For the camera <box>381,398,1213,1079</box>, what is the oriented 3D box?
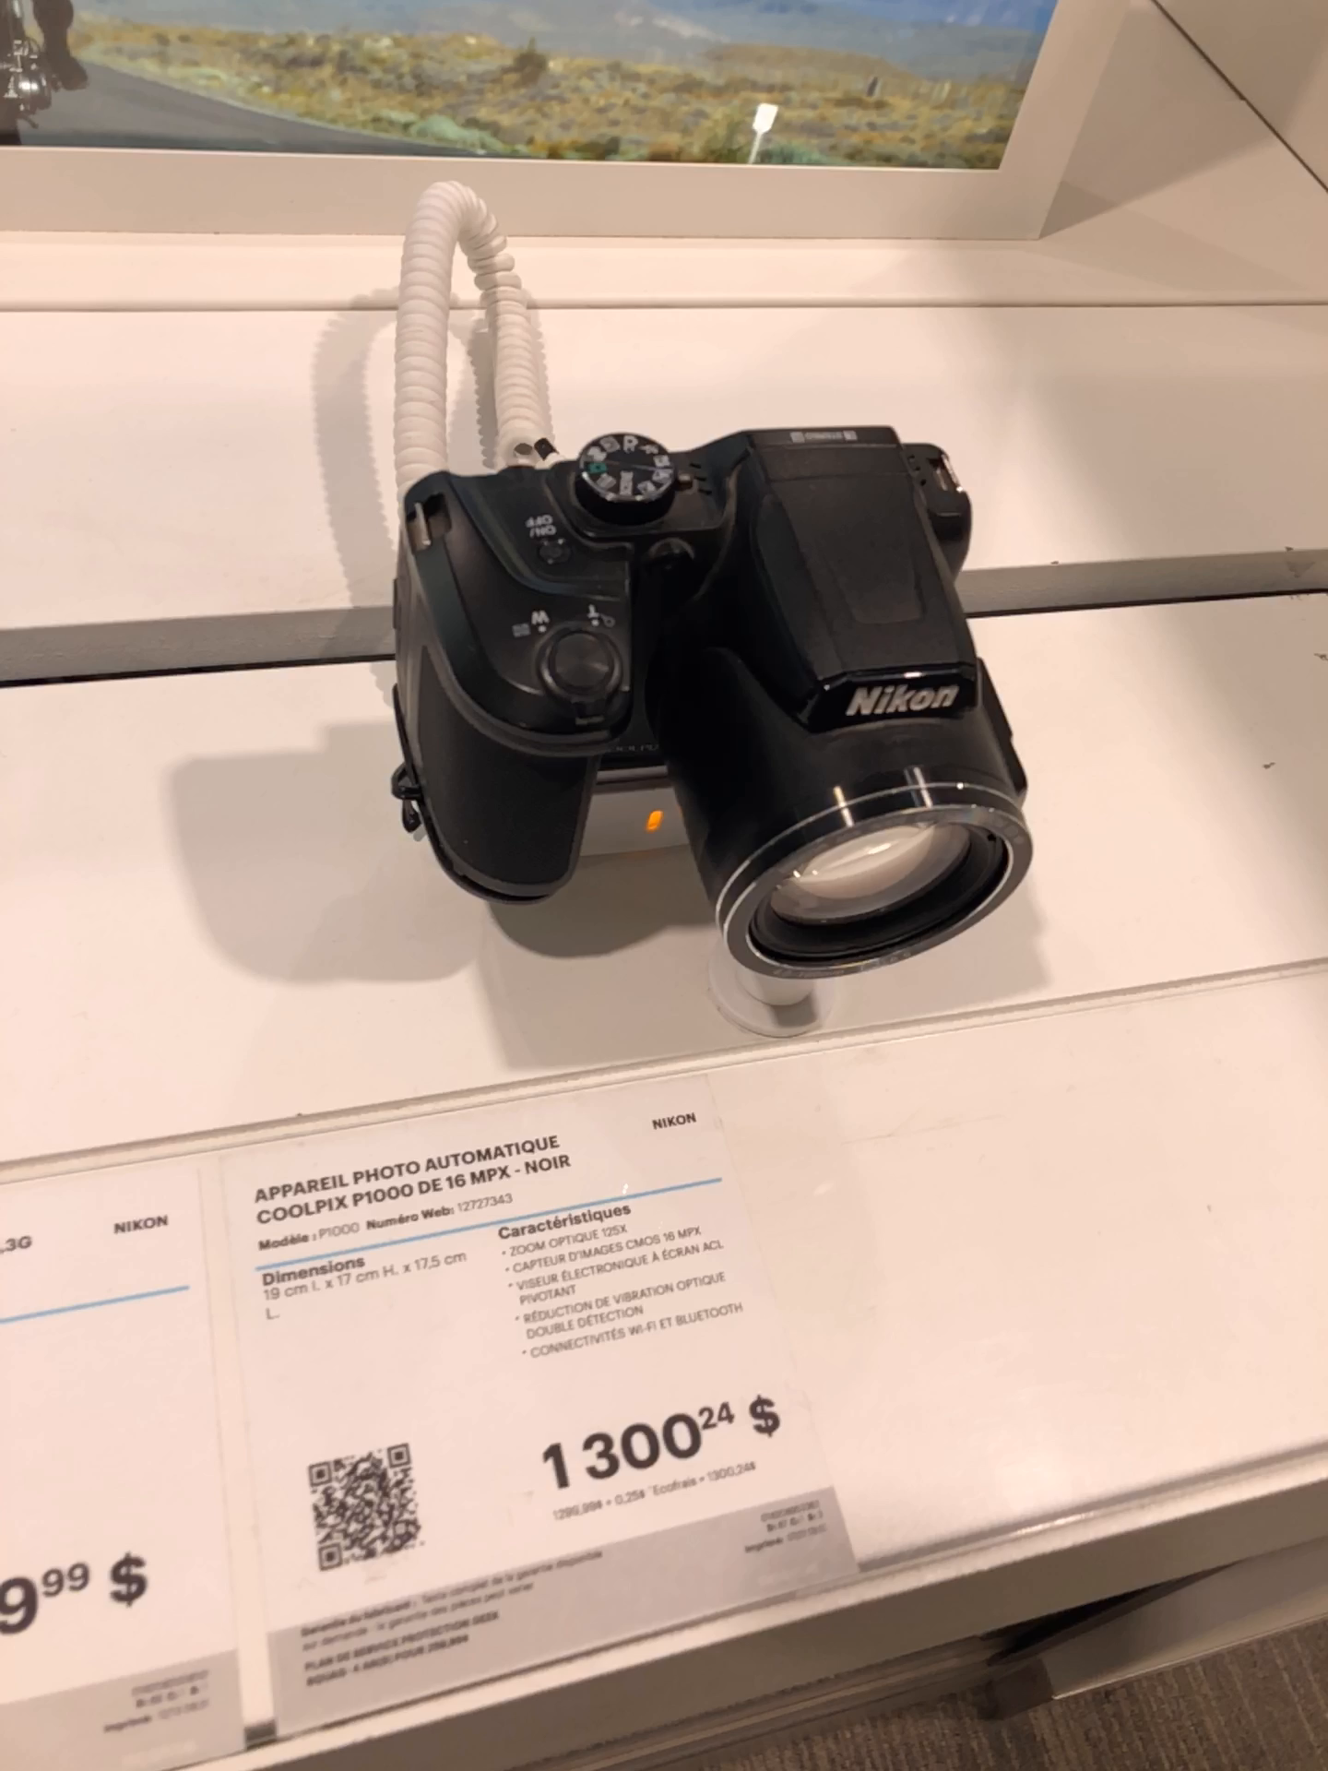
[{"bbox_3d":[0.015,-0.031,0.270,0.117,0.067,0.092,-8,55,-17],"label":"camera"}]
